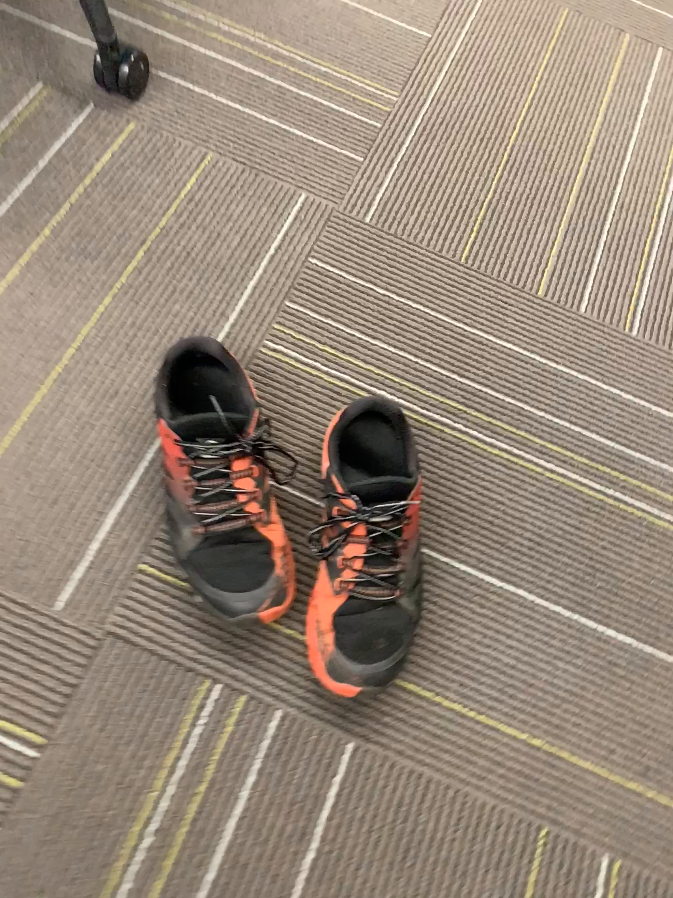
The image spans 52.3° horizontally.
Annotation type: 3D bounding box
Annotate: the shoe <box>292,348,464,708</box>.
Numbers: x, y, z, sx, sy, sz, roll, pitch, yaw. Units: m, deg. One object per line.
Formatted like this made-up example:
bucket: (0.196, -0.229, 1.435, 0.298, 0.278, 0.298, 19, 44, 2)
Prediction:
shoe: (0.034, 0.078, 0.674, 0.130, 0.130, 0.321, 4, 66, -7)

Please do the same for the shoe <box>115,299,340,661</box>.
shoe: (-0.114, 0.028, 0.678, 0.130, 0.130, 0.311, -13, 69, -14)
